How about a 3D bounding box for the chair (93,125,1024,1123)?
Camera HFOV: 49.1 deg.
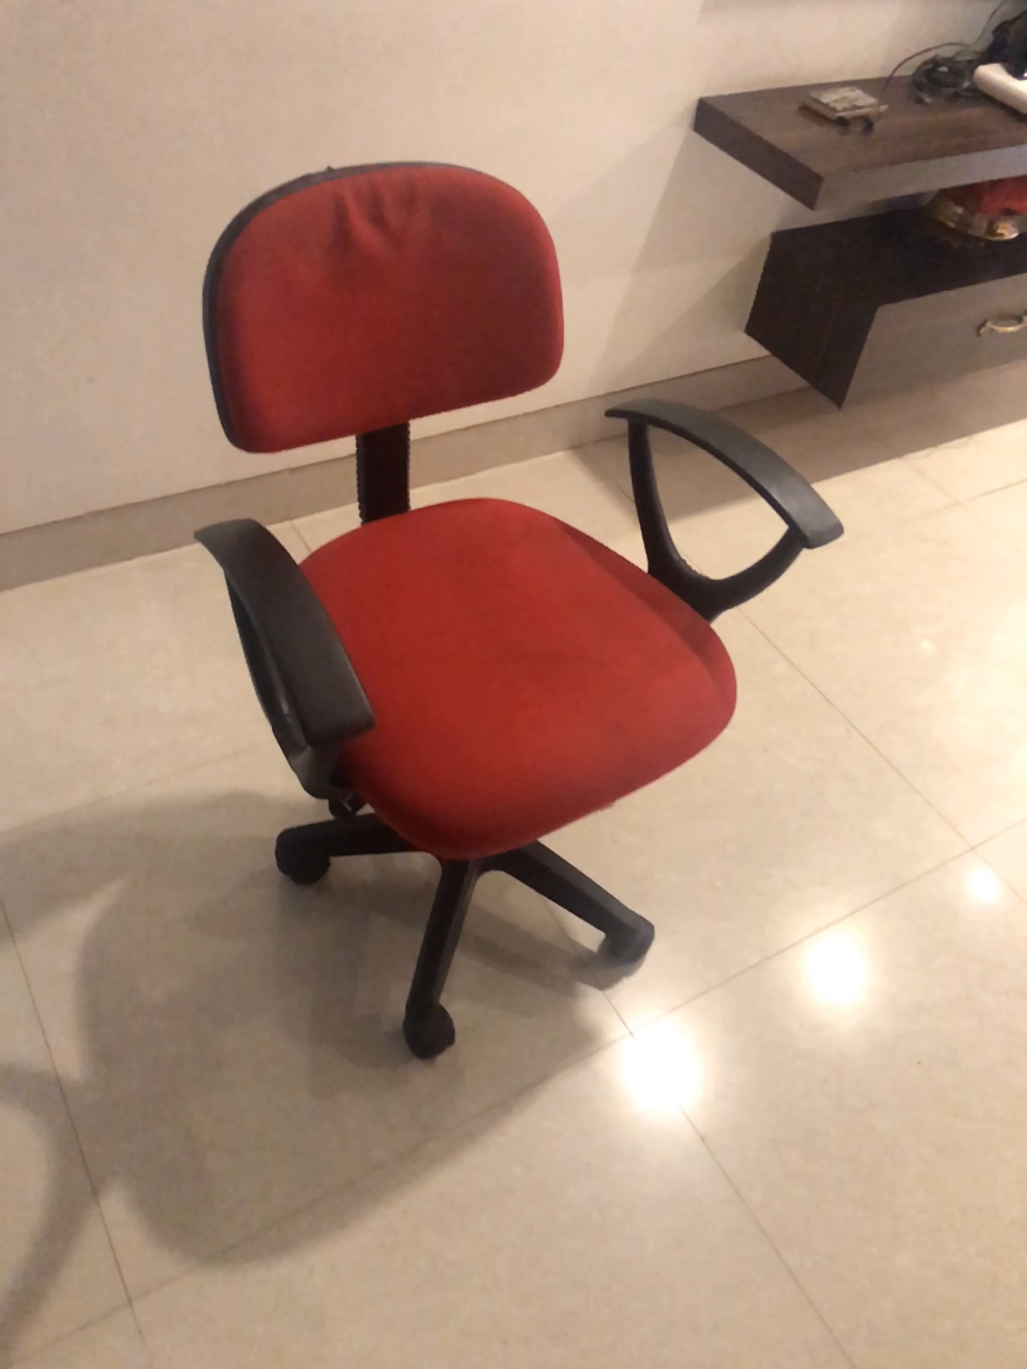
[{"bbox_3d":[-0.020,-0.073,1.199,0.541,0.725,0.603,-21,53,-26],"label":"chair"}]
